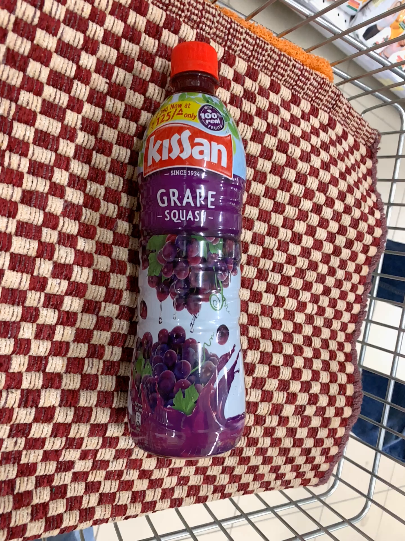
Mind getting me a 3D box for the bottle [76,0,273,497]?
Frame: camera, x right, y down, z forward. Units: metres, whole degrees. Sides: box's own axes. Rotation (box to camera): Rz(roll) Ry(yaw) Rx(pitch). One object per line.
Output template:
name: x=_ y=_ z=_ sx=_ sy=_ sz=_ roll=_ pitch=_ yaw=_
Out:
bottle: x=-0.009 y=-0.019 z=0.236 sx=0.080 sy=0.080 sz=0.240 roll=-1 pitch=94 yaw=-80
